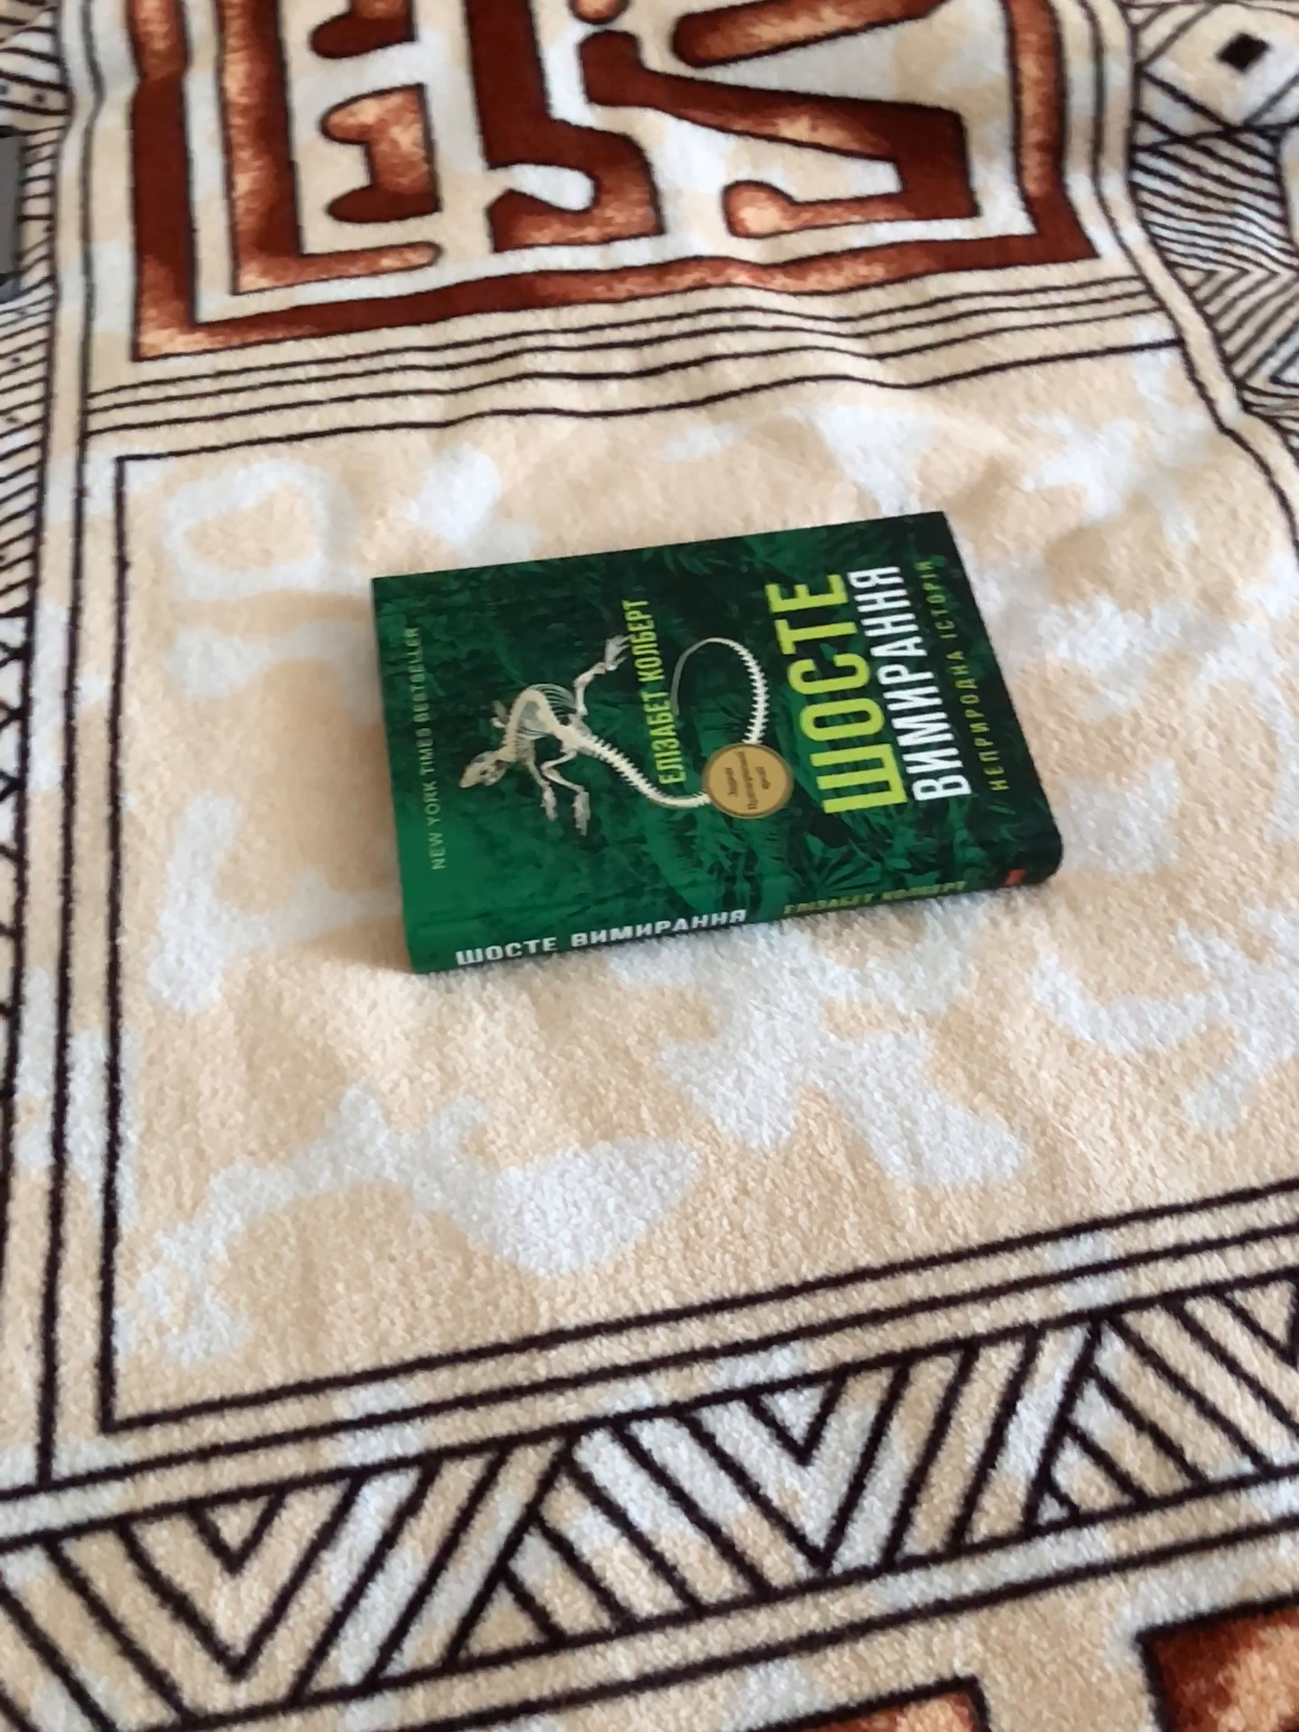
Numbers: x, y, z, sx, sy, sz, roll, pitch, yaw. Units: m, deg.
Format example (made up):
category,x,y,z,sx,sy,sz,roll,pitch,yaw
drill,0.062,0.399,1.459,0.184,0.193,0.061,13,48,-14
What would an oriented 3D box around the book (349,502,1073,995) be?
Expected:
category,x,y,z,sx,sy,sz,roll,pitch,yaw
book,0.014,-0.046,0.494,0.220,0.030,0.151,-8,62,-5
